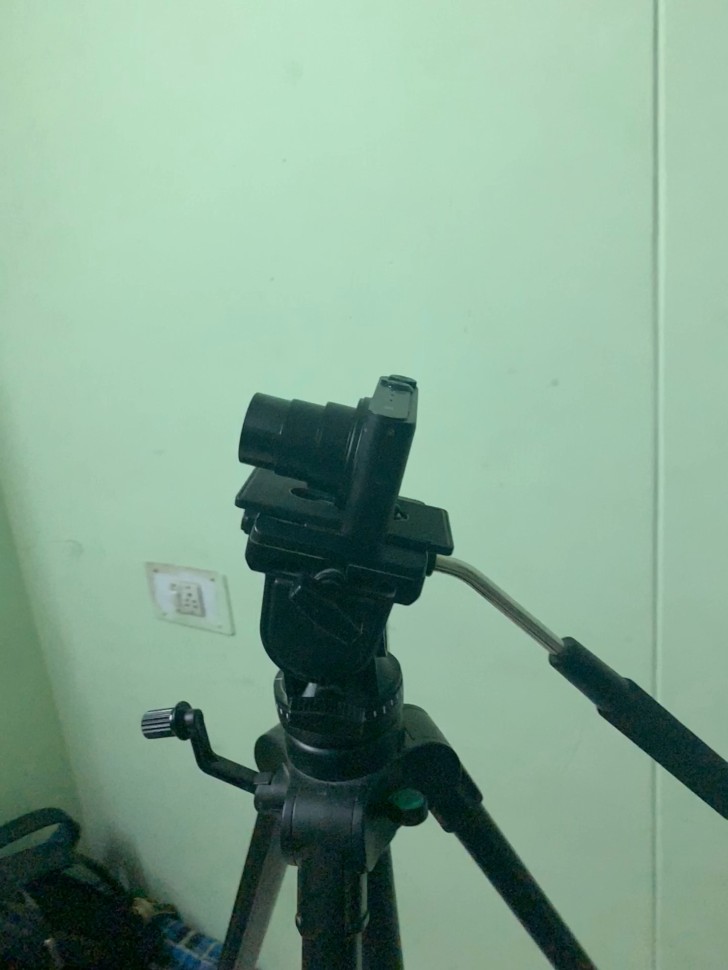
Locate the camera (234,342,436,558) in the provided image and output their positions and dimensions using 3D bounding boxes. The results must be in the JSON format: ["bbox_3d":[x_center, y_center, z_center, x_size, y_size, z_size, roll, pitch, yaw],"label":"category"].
[{"bbox_3d":[-0.009,-0.021,0.335,0.068,0.060,0.102,12,17,0],"label":"camera"}]
